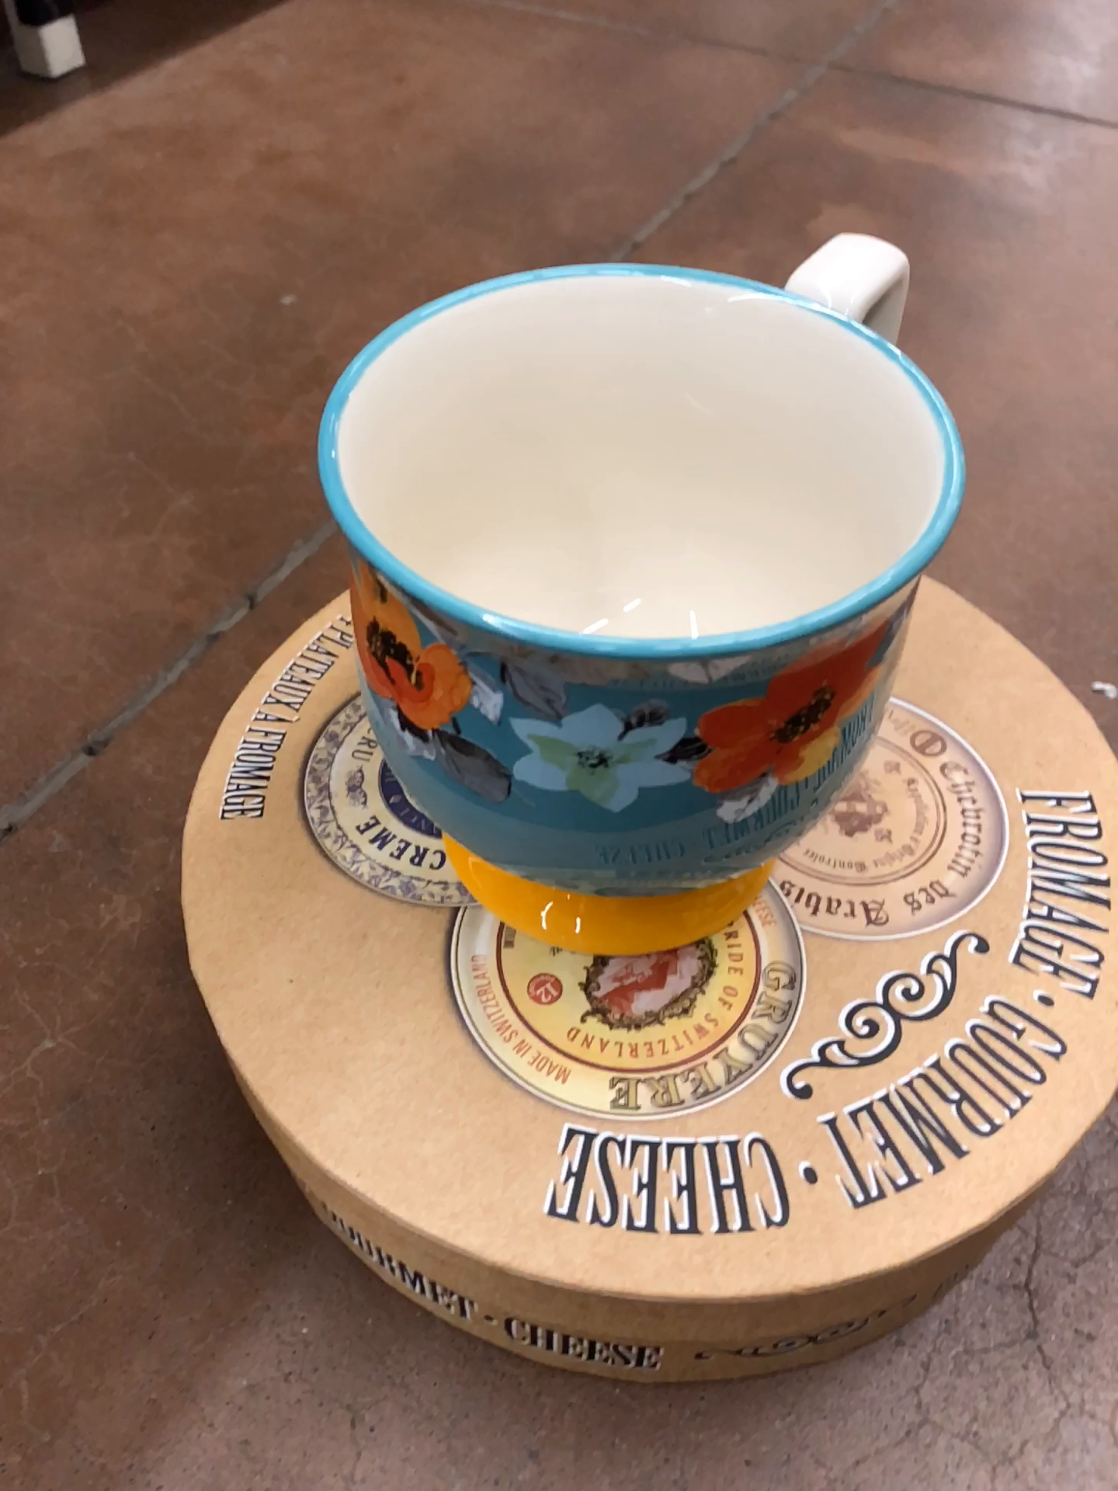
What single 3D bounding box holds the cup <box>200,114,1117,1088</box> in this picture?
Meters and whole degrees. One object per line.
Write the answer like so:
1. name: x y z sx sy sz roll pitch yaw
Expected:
1. cup: 0.028 -0.036 0.220 0.090 0.080 0.140 25 52 21
